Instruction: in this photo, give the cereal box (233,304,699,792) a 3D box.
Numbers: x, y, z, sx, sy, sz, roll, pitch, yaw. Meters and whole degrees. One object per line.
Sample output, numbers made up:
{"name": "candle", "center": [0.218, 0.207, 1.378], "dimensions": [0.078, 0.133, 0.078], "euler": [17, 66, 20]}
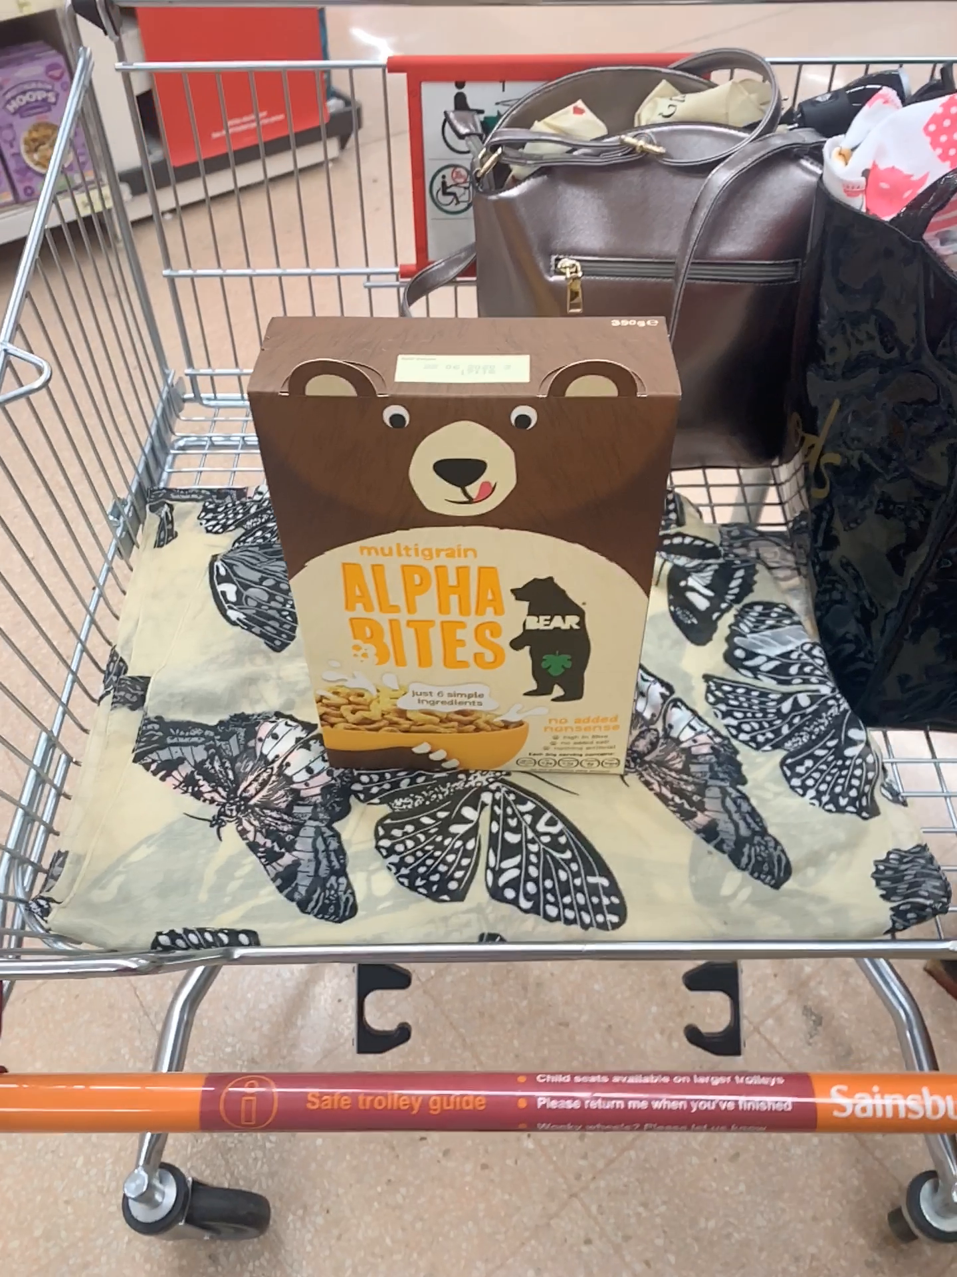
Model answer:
{"name": "cereal box", "center": [-0.006, -0.030, 0.553], "dimensions": [0.200, 0.297, 0.071], "euler": [1, 46, 1]}
